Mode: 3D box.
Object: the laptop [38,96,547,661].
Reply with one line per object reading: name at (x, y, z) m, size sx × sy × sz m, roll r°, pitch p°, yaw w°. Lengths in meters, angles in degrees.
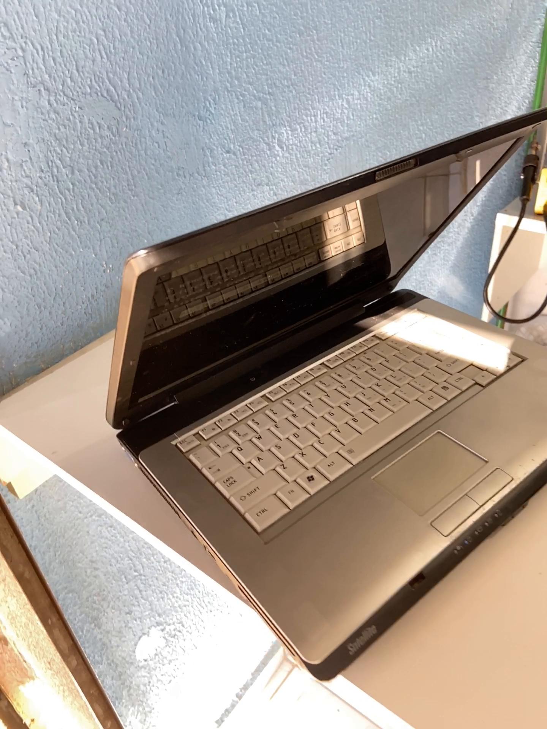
laptop at (0.074, -0.043, 0.414) m, size 0.352 × 0.202 × 0.246 m, roll -27°, pitch 40°, yaw -28°
